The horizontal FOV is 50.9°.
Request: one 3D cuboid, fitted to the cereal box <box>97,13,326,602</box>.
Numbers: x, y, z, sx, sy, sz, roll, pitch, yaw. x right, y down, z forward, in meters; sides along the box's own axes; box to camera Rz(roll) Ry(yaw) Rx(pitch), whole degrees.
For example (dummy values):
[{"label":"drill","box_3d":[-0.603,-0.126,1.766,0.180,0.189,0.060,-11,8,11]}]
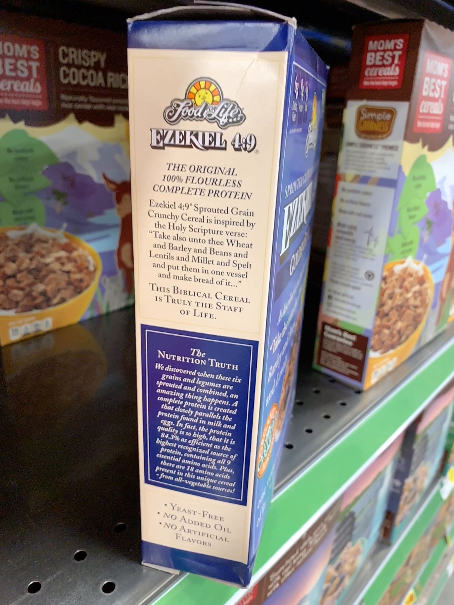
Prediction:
[{"label":"cereal box","box_3d":[0.005,-0.002,0.265,0.060,0.249,0.161,8,22,14]}]
